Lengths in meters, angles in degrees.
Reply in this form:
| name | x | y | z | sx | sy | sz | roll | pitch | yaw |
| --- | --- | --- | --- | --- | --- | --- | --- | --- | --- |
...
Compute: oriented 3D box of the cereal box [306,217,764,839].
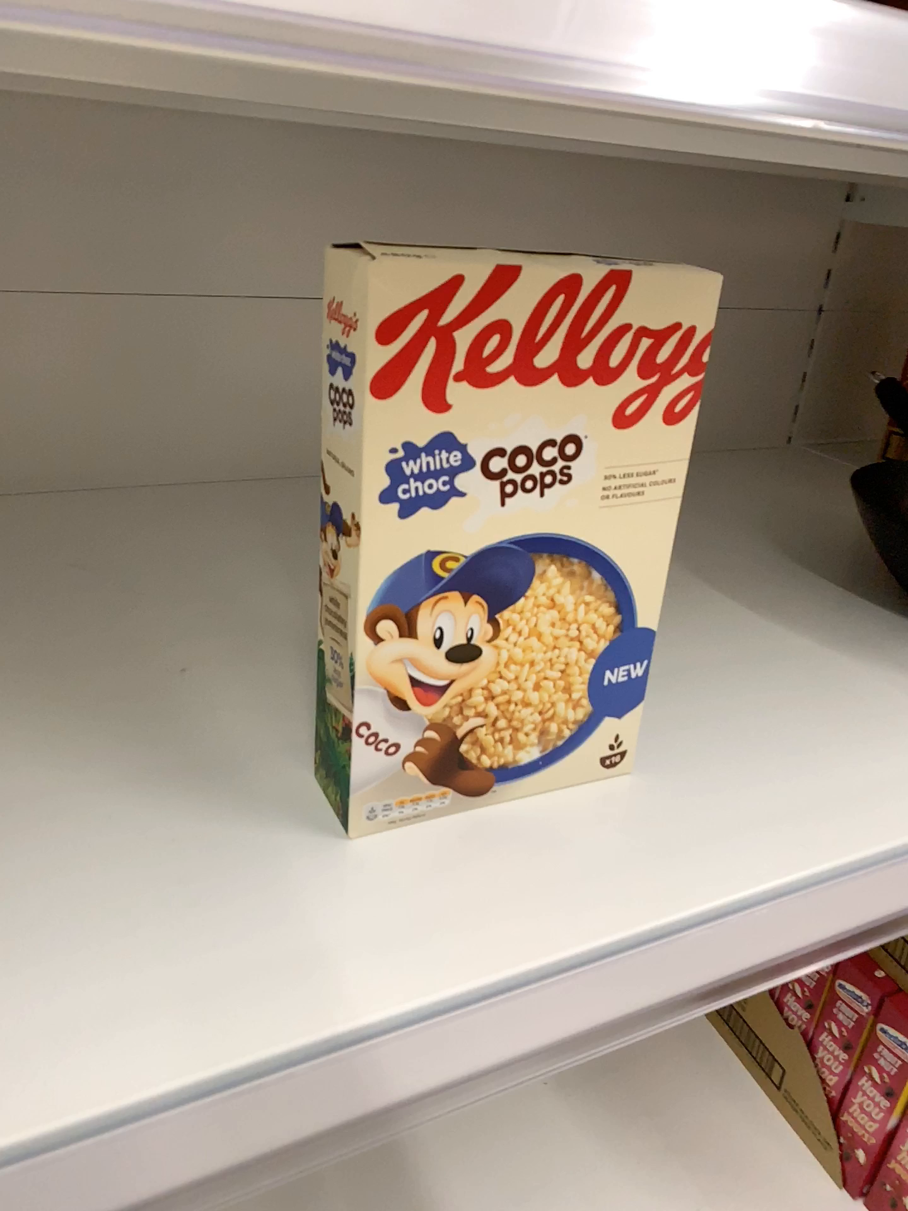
| name | x | y | z | sx | sy | sz | roll | pitch | yaw |
| --- | --- | --- | --- | --- | --- | --- | --- | --- | --- |
| cereal box | 0.034 | -0.041 | 0.500 | 0.210 | 0.298 | 0.070 | -7 | 25 | -25 |
